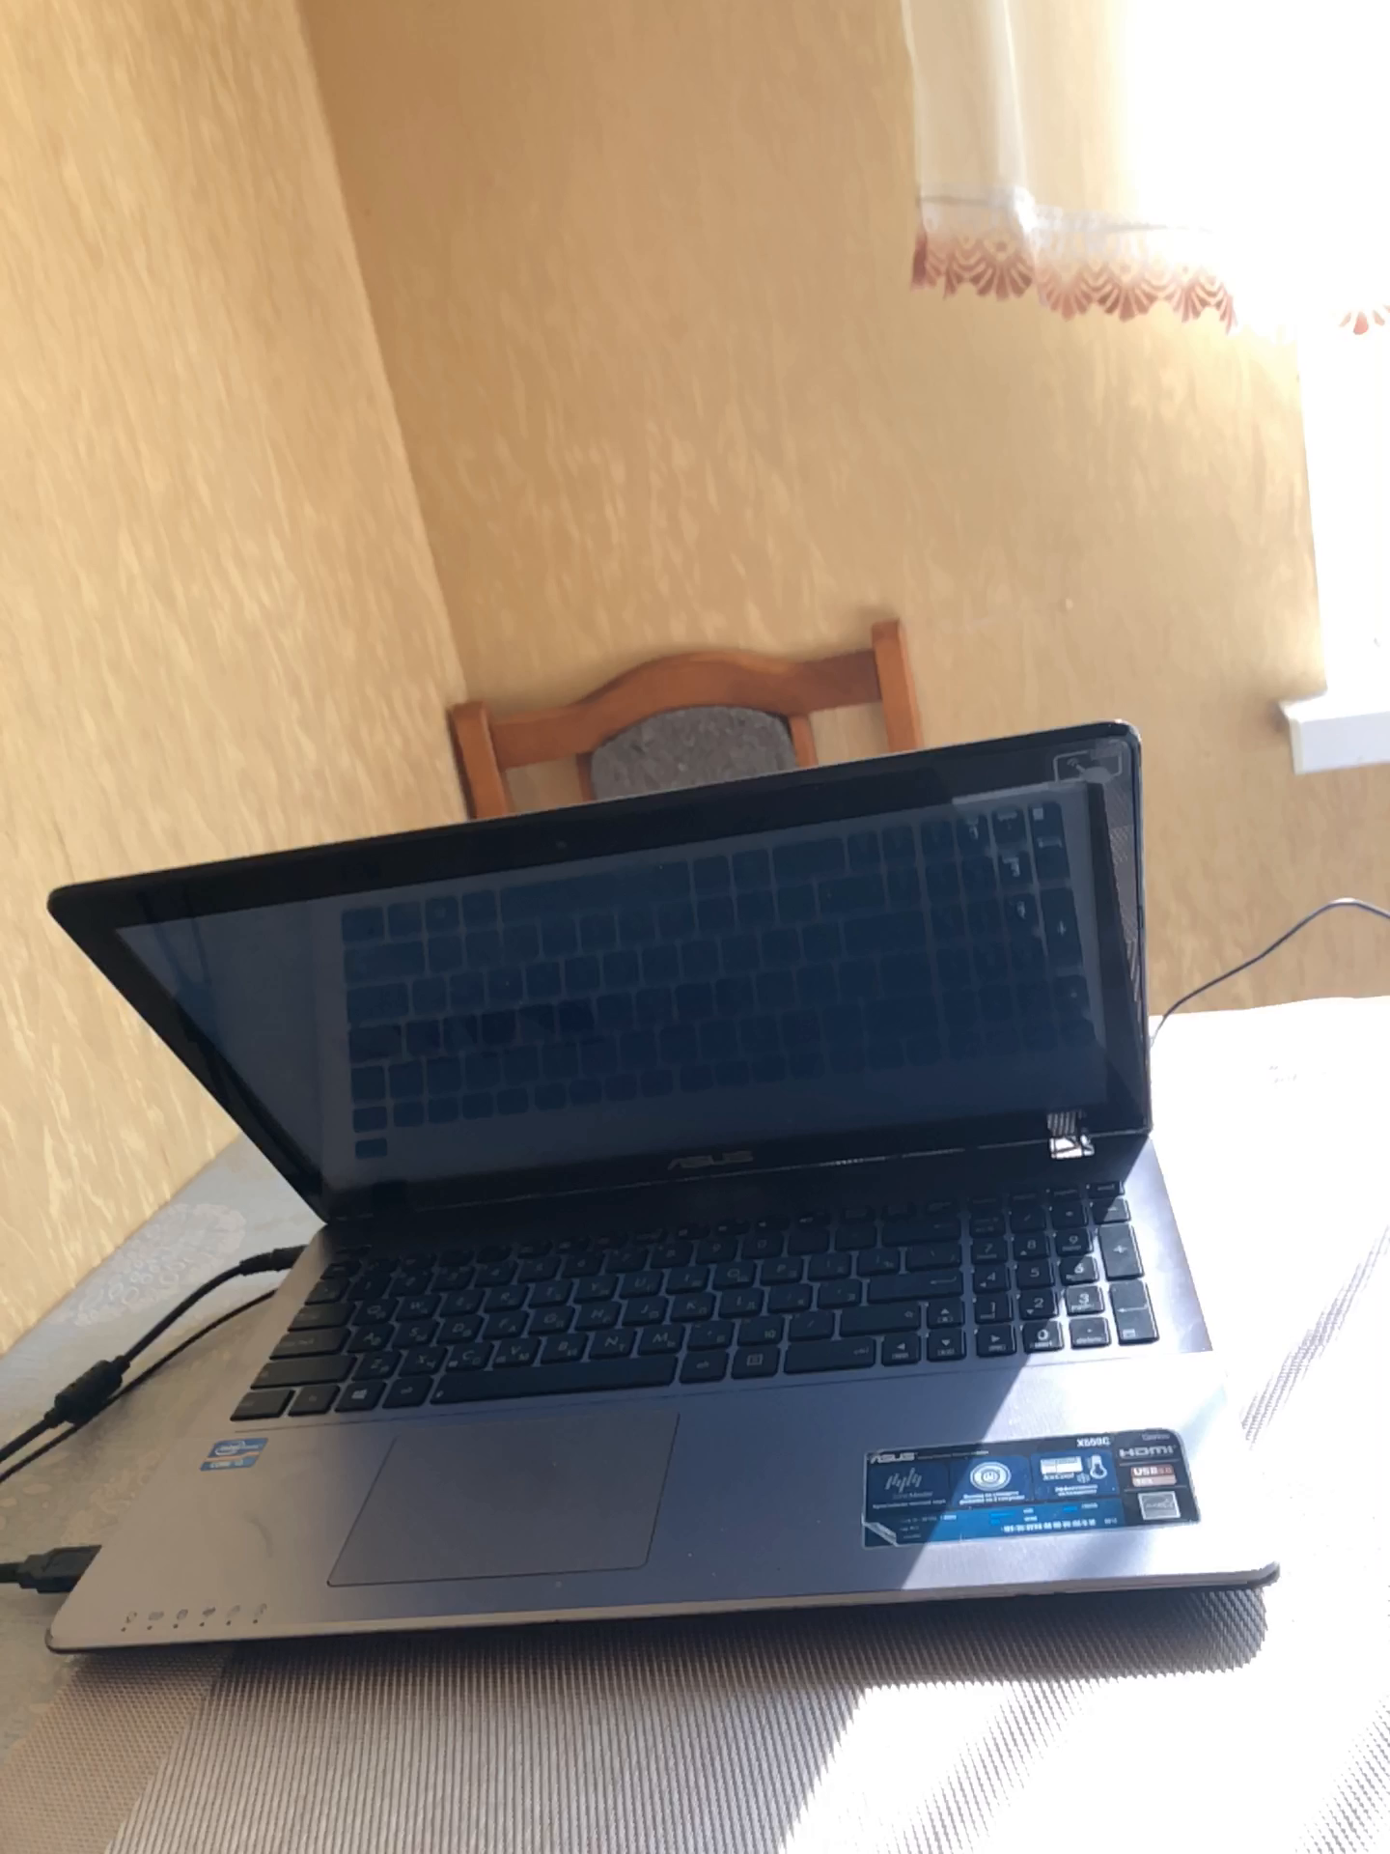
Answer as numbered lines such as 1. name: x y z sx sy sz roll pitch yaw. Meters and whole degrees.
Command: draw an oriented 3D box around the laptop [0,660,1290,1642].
1. laptop: -0.026 0.061 0.524 0.369 0.196 0.243 -9 18 11
